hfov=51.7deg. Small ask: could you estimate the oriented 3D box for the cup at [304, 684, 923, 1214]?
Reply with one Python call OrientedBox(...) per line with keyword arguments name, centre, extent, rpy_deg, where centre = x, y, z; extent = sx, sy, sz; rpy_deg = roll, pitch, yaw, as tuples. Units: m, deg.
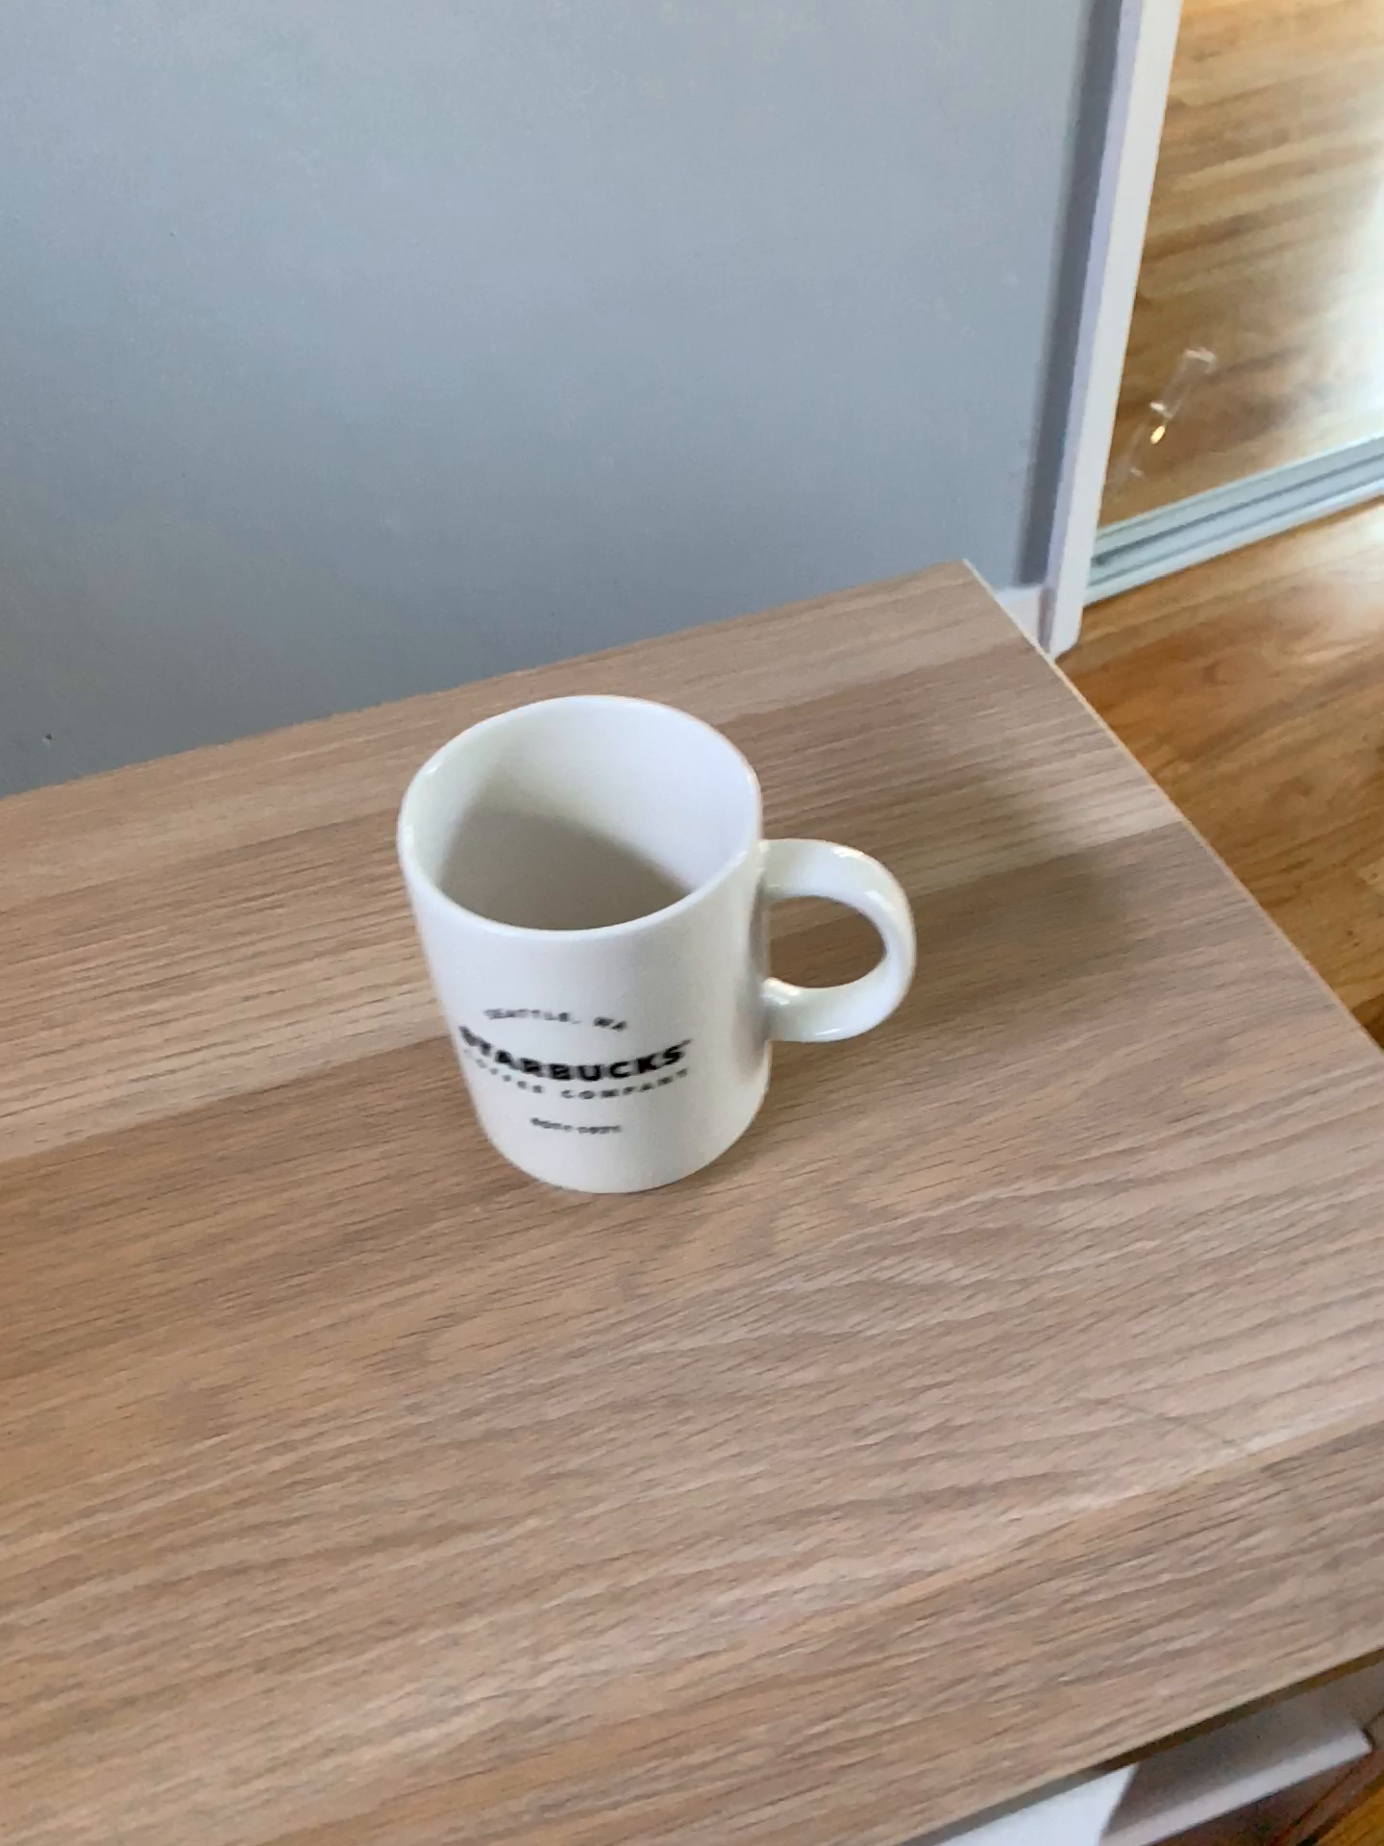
OrientedBox(name="cup", centre=(-0.010, 0.004, 0.359), extent=(0.130, 0.080, 0.100), rpy_deg=(2, 47, 7))
